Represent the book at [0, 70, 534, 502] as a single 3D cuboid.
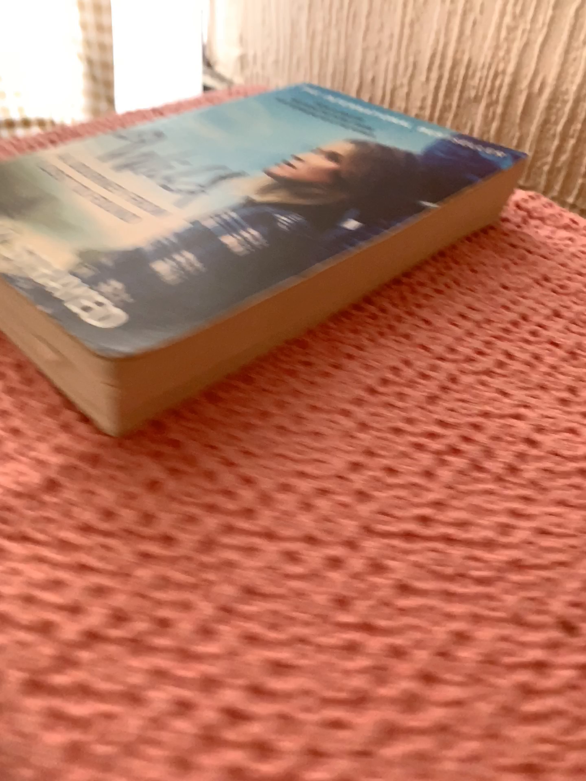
[{"bbox_3d":[-0.026,-0.069,0.230,0.141,0.030,0.211,34,50,28],"label":"book"}]
